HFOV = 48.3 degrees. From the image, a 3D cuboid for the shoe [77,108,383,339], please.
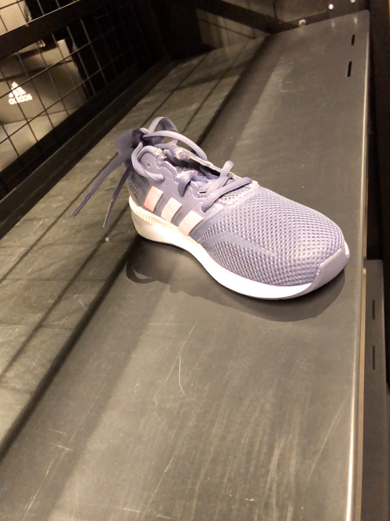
[{"bbox_3d":[0.013,-0.047,0.331,0.090,0.090,0.221,-37,38,-23],"label":"shoe"}]
